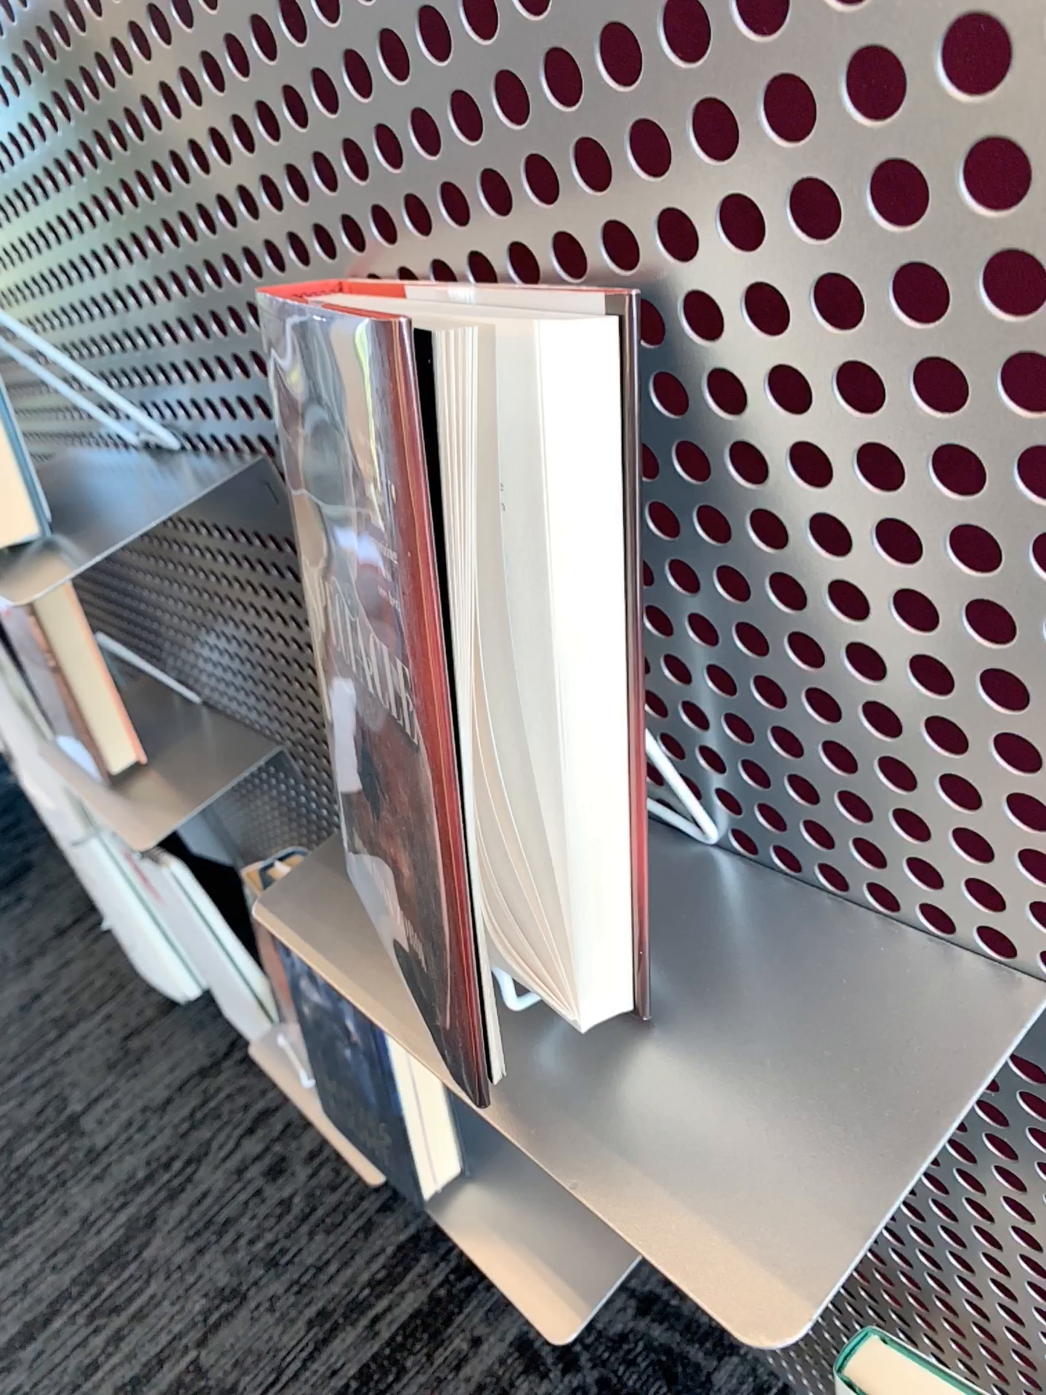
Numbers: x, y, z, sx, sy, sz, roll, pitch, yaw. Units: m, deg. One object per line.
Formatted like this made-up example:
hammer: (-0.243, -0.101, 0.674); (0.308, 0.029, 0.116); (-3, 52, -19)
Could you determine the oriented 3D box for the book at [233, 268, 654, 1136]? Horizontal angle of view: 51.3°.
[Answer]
book: (-0.027, -0.012, 0.326); (0.059, 0.211, 0.154); (-13, 24, -18)
